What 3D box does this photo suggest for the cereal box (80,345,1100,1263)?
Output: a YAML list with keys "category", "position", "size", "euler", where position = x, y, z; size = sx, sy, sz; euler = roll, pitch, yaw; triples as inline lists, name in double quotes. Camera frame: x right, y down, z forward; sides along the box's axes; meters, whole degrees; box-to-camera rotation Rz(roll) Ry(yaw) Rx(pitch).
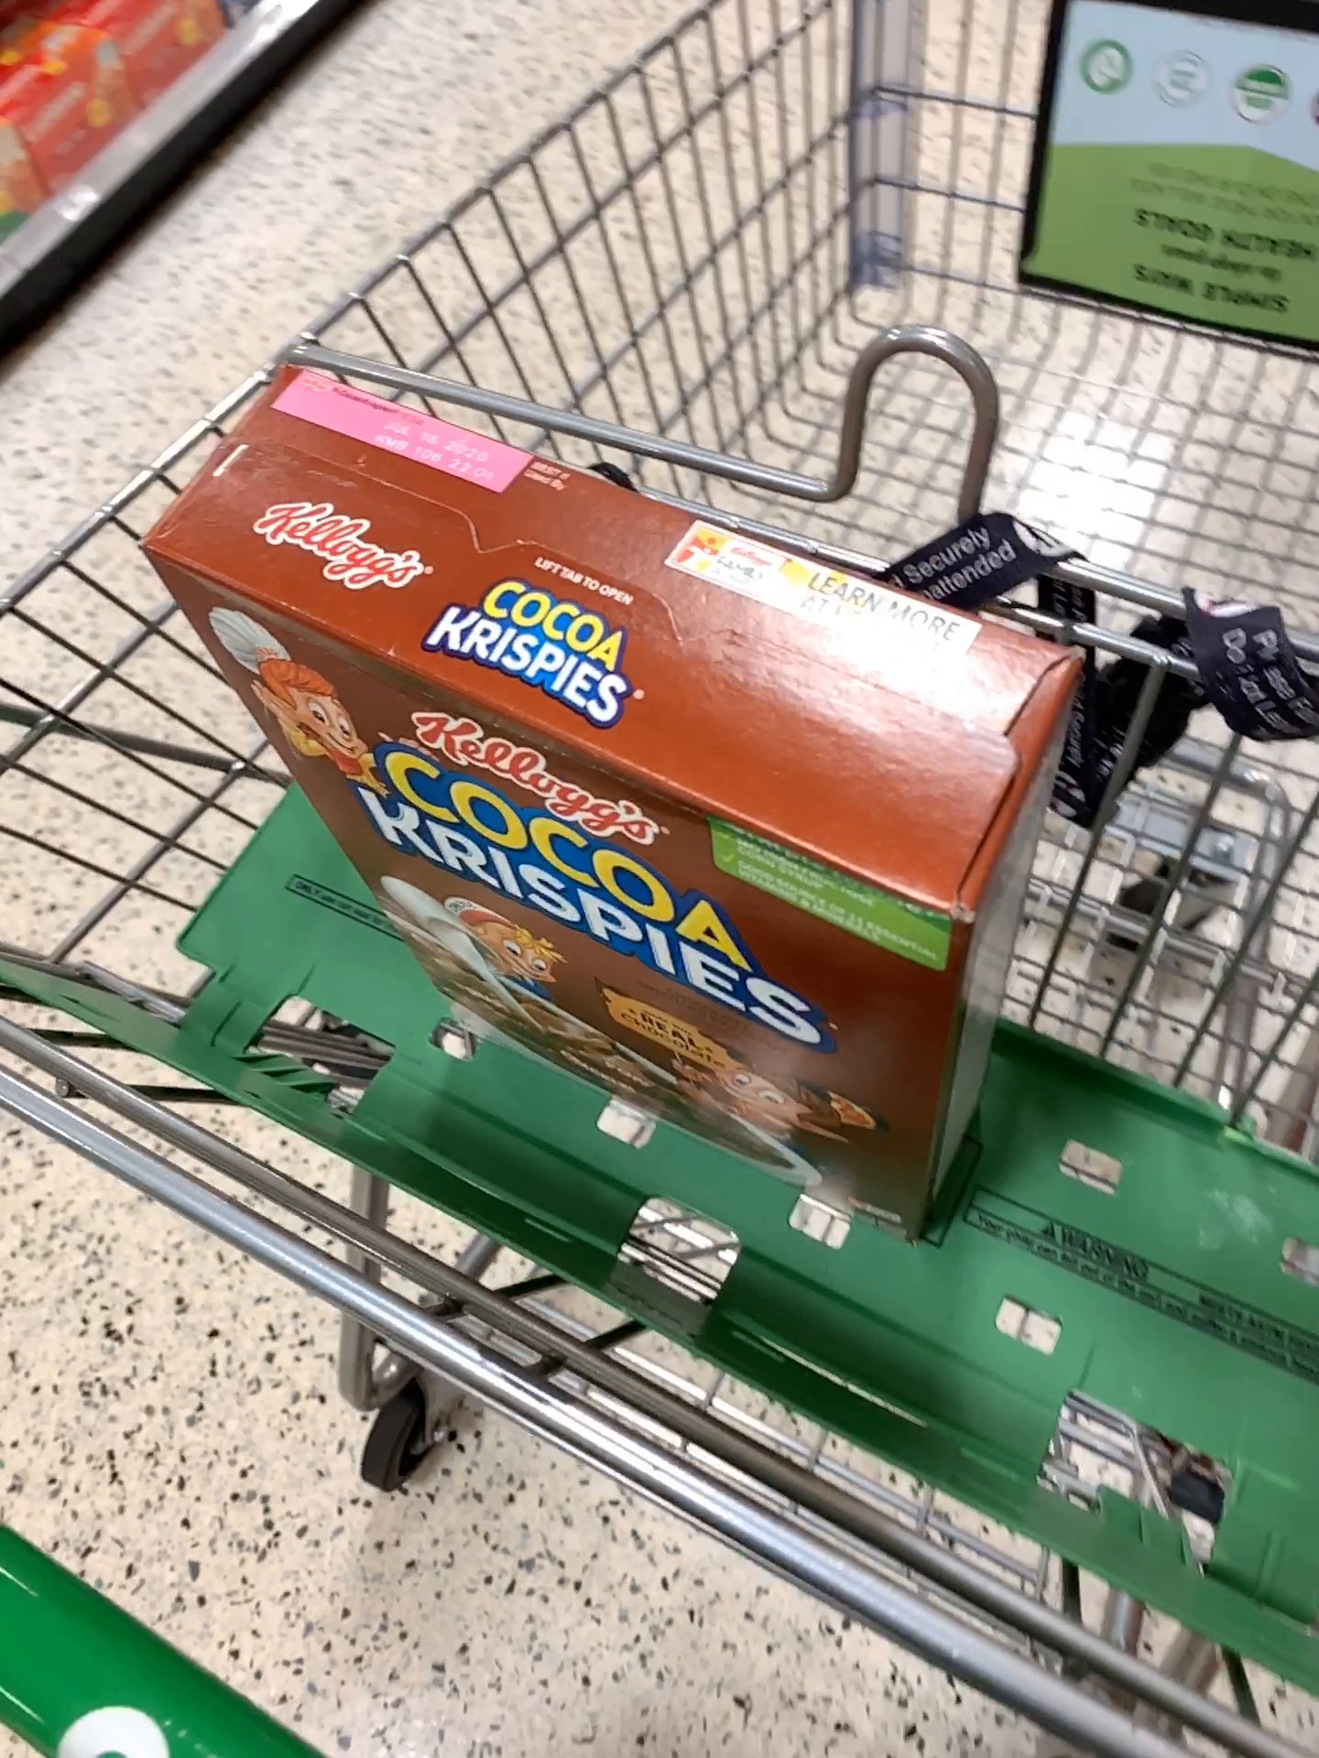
- category: "cereal box"
  position: [0.000, 0.009, 0.402]
  size: [0.201, 0.308, 0.060]
  euler: [24, 70, 19]
